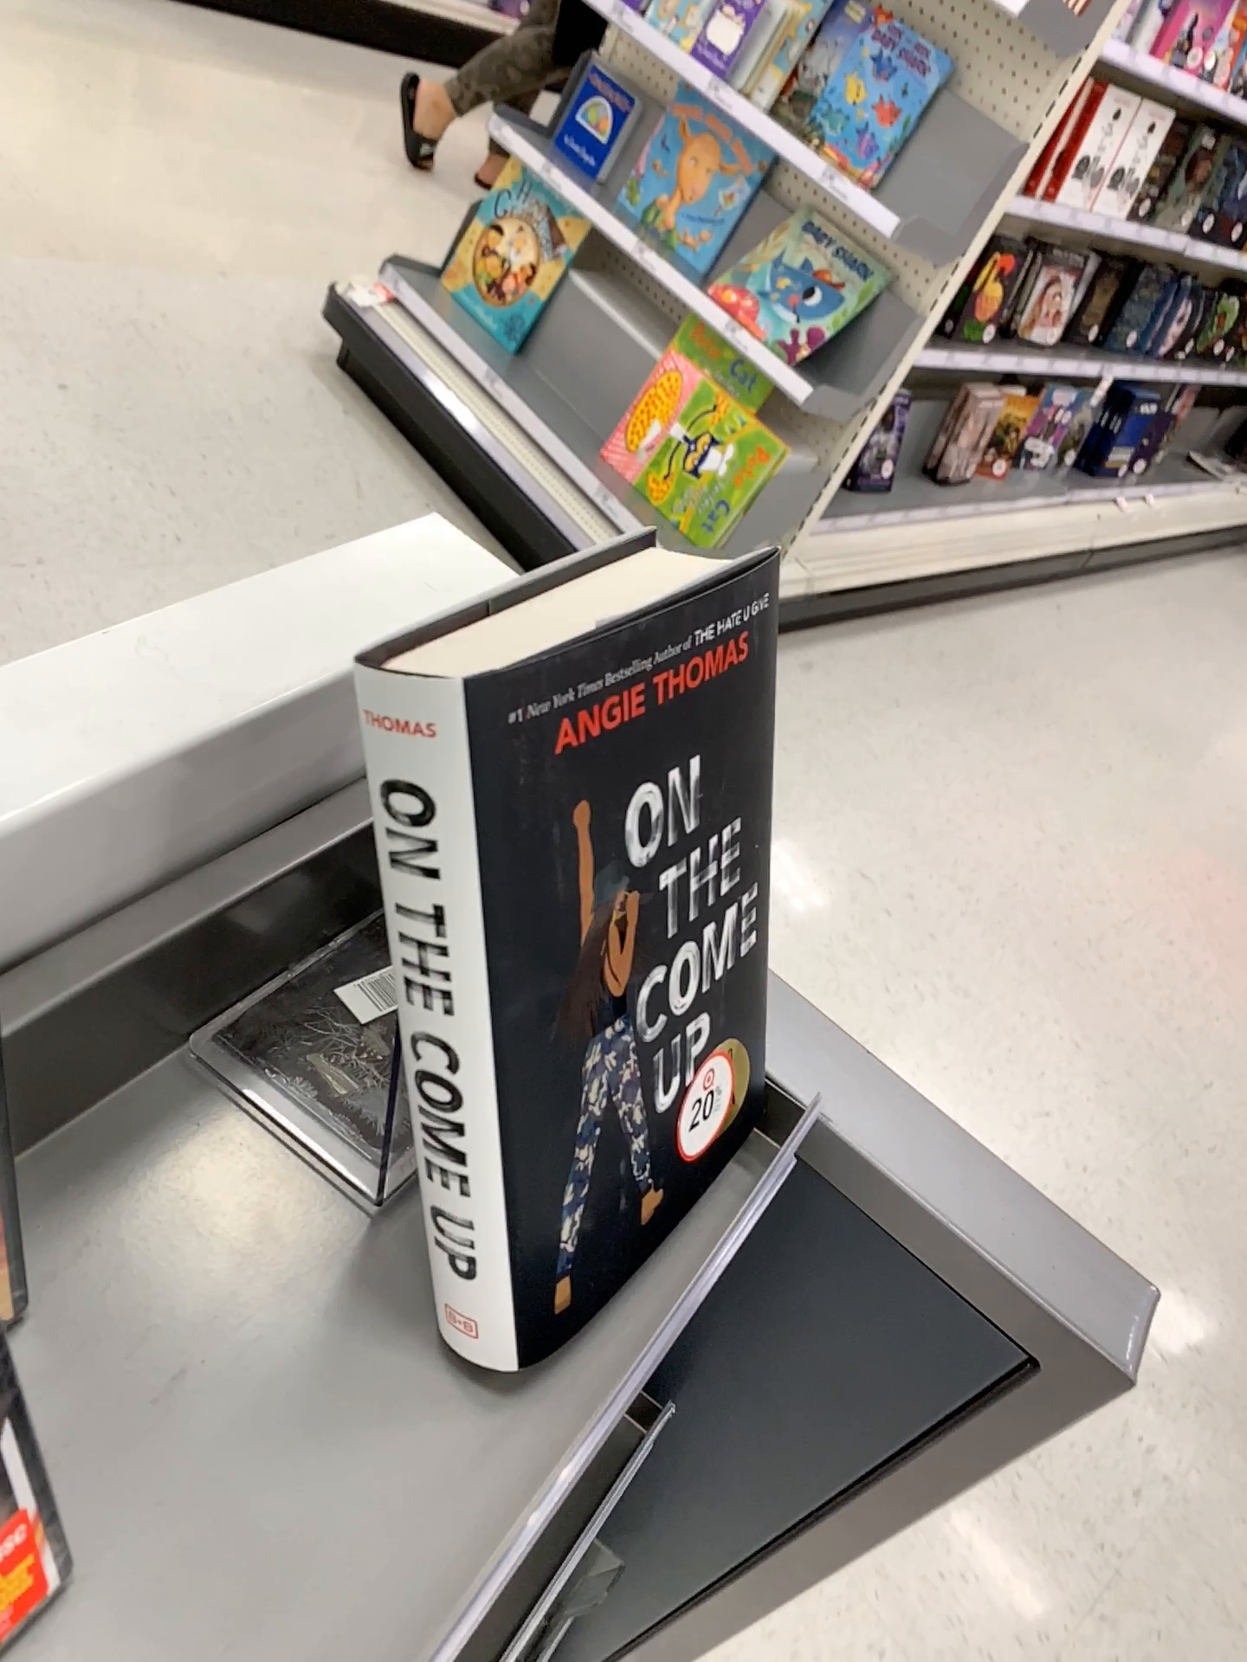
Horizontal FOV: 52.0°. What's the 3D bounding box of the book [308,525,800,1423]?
[{"bbox_3d":[-0.008,0.036,0.390,0.056,0.222,0.149,14,30,29],"label":"book"}]
